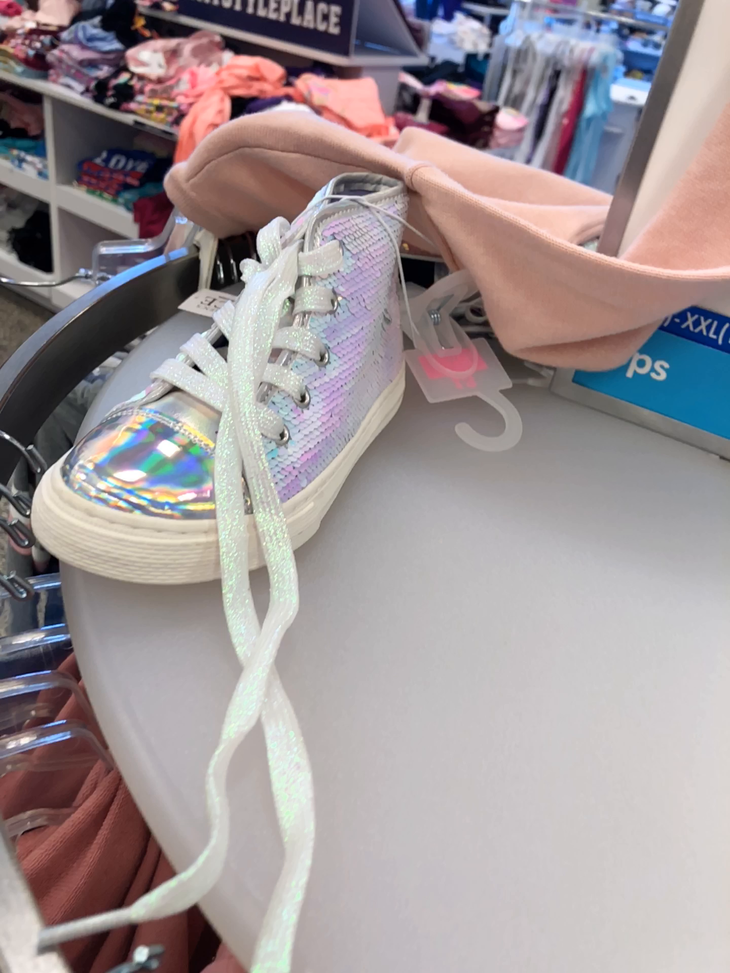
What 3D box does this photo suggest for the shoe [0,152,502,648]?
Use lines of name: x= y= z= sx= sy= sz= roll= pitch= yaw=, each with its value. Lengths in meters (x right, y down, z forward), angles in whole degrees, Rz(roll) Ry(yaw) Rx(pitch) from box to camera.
shoe: x=-0.035 y=-0.055 z=0.322 sx=0.090 sy=0.105 sz=0.212 roll=22 pitch=35 yaw=18
